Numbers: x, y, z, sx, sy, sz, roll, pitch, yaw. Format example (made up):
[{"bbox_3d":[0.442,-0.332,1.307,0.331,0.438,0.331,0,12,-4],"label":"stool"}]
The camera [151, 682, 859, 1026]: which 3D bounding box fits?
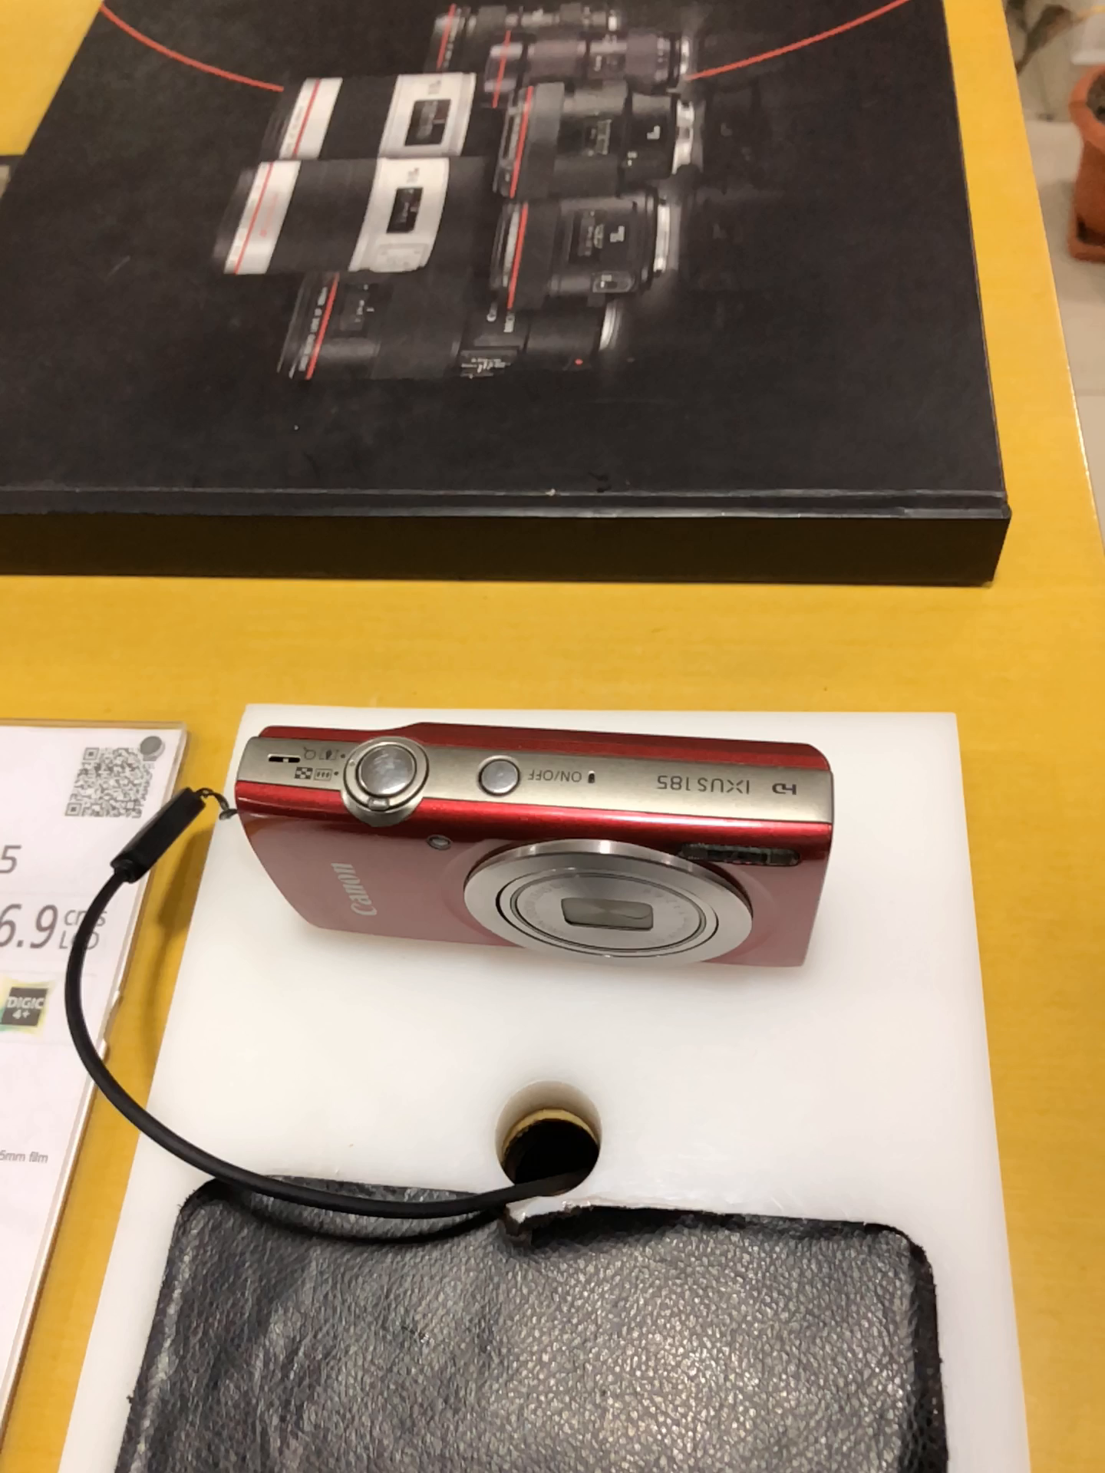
[{"bbox_3d":[-0.005,0.020,0.200,0.100,0.050,0.030,3,59,8],"label":"camera"}]
